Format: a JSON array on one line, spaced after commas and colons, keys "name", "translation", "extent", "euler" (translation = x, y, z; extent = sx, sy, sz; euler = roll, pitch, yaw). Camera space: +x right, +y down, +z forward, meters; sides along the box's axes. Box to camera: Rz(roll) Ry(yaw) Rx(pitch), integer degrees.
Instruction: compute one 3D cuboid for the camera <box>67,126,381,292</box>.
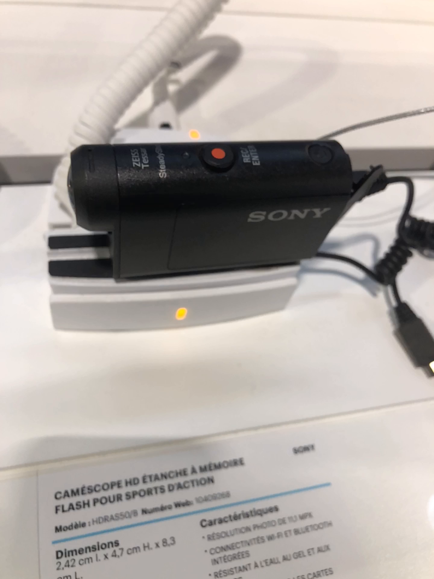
[{"name": "camera", "translation": [0.000, -0.023, 0.147], "extent": [0.080, 0.045, 0.020], "euler": [-5, 58, -14]}]
